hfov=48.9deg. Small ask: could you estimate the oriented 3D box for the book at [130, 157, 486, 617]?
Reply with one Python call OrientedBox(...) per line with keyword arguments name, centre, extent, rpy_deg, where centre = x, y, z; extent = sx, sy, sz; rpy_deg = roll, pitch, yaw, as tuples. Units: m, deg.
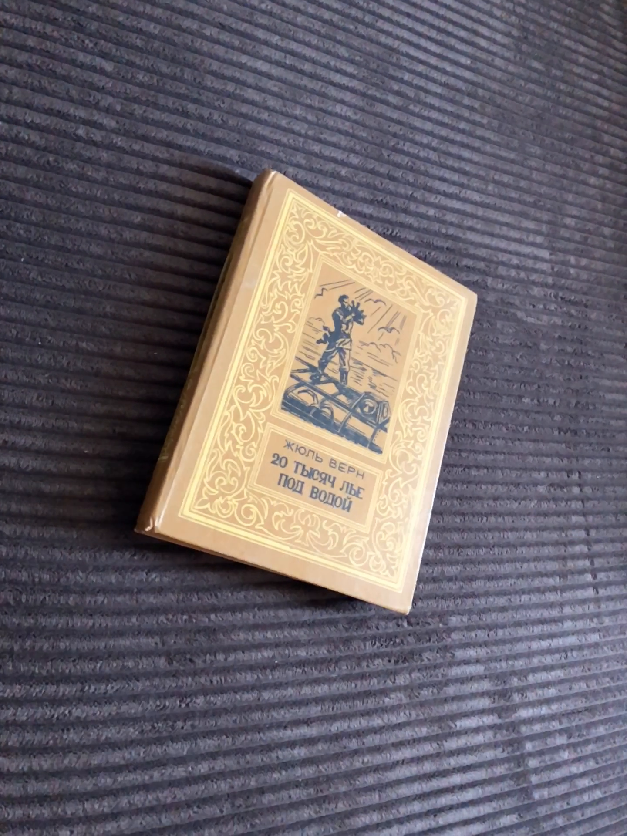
OrientedBox(name="book", centre=(0.012, -0.014, 0.409), extent=(0.170, 0.029, 0.220), rpy_deg=(24, 71, -26))
